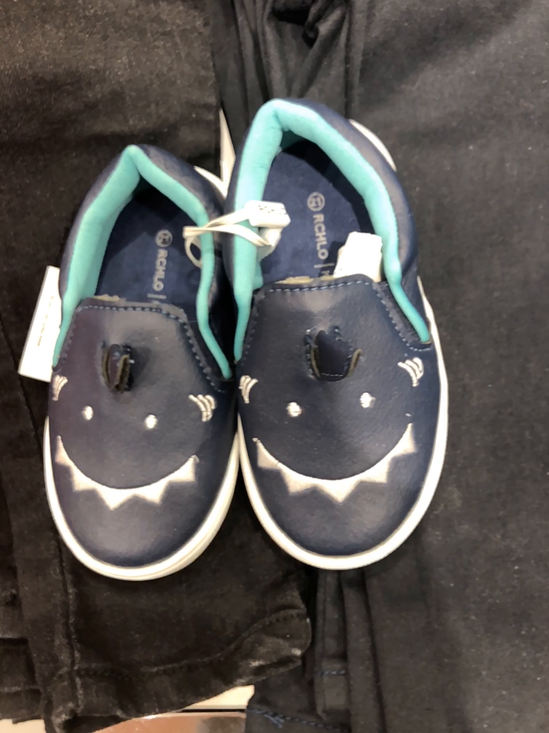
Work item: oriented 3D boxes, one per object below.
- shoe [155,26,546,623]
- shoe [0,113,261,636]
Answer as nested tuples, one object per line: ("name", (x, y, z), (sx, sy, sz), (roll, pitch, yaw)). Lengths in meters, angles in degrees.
("shoe", (0.017, -0.013, 0.188), (0.080, 0.050, 0.150), (-8, 81, 1))
("shoe", (-0.048, 0.001, 0.204), (0.080, 0.050, 0.150), (1, 82, 2))
